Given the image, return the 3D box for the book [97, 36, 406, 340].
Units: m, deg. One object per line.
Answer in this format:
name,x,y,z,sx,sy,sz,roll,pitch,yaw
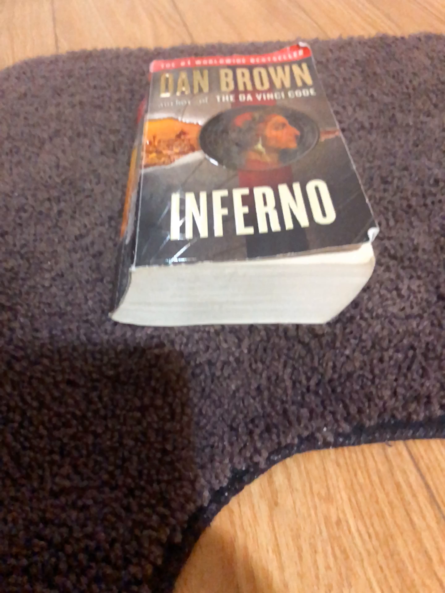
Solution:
book,0.007,-0.075,0.277,0.120,0.050,0.201,-2,50,-2
